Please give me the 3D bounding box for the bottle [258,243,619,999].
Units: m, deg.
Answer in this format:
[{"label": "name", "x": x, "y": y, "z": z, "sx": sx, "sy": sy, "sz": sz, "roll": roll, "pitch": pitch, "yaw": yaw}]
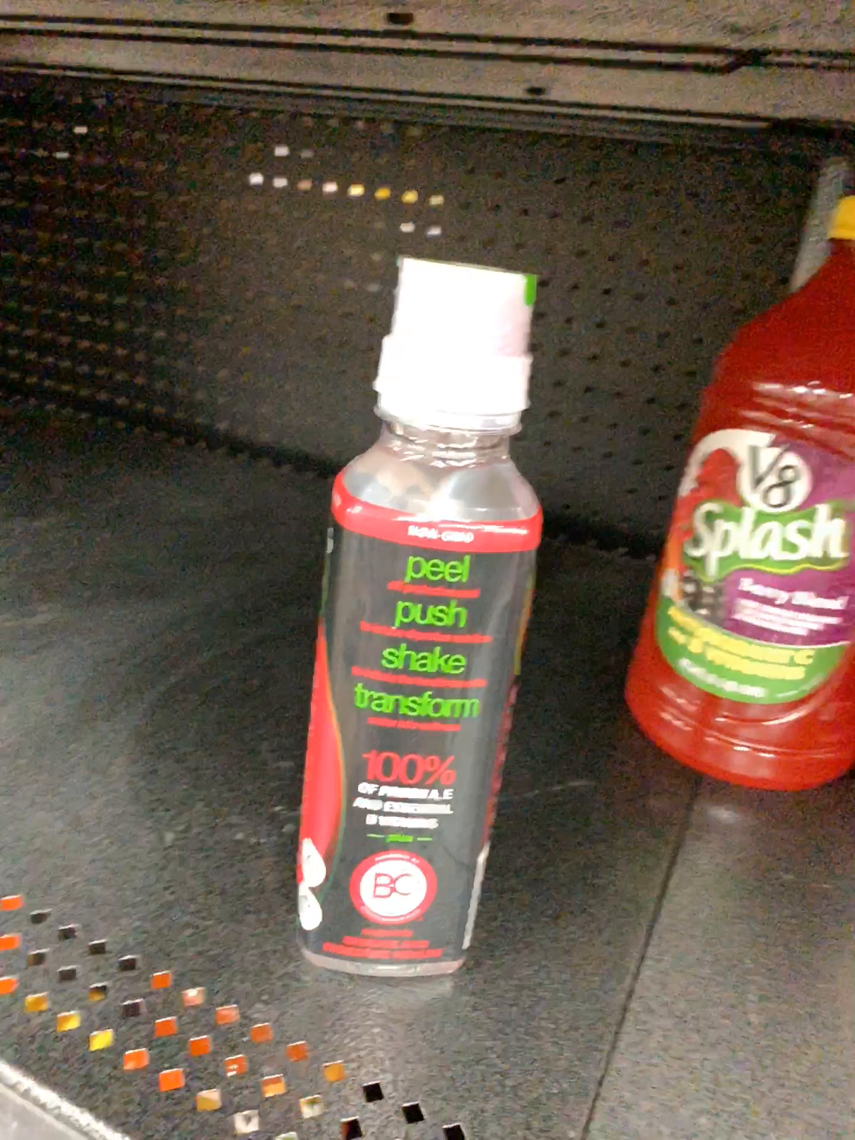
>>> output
[{"label": "bottle", "x": -0.006, "y": 0.019, "z": 0.263, "sx": 0.070, "sy": 0.209, "sz": 0.069, "roll": 6, "pitch": 22, "yaw": -2}]
